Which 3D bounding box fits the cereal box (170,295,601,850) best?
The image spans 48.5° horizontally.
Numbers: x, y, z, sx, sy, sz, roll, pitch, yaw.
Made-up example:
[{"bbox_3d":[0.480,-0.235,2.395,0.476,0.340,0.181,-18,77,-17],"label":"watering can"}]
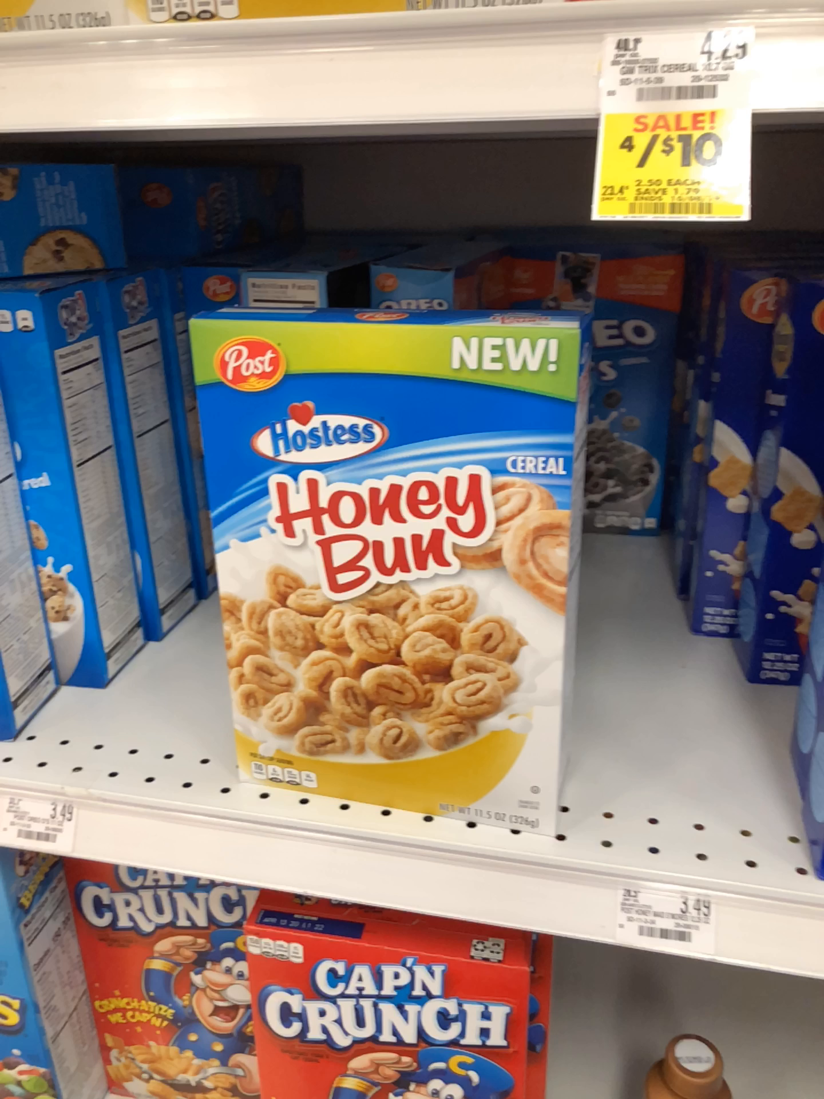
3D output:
[{"bbox_3d":[-0.012,0.010,0.519,0.210,0.289,0.070,5,21,15],"label":"cereal box"}]
